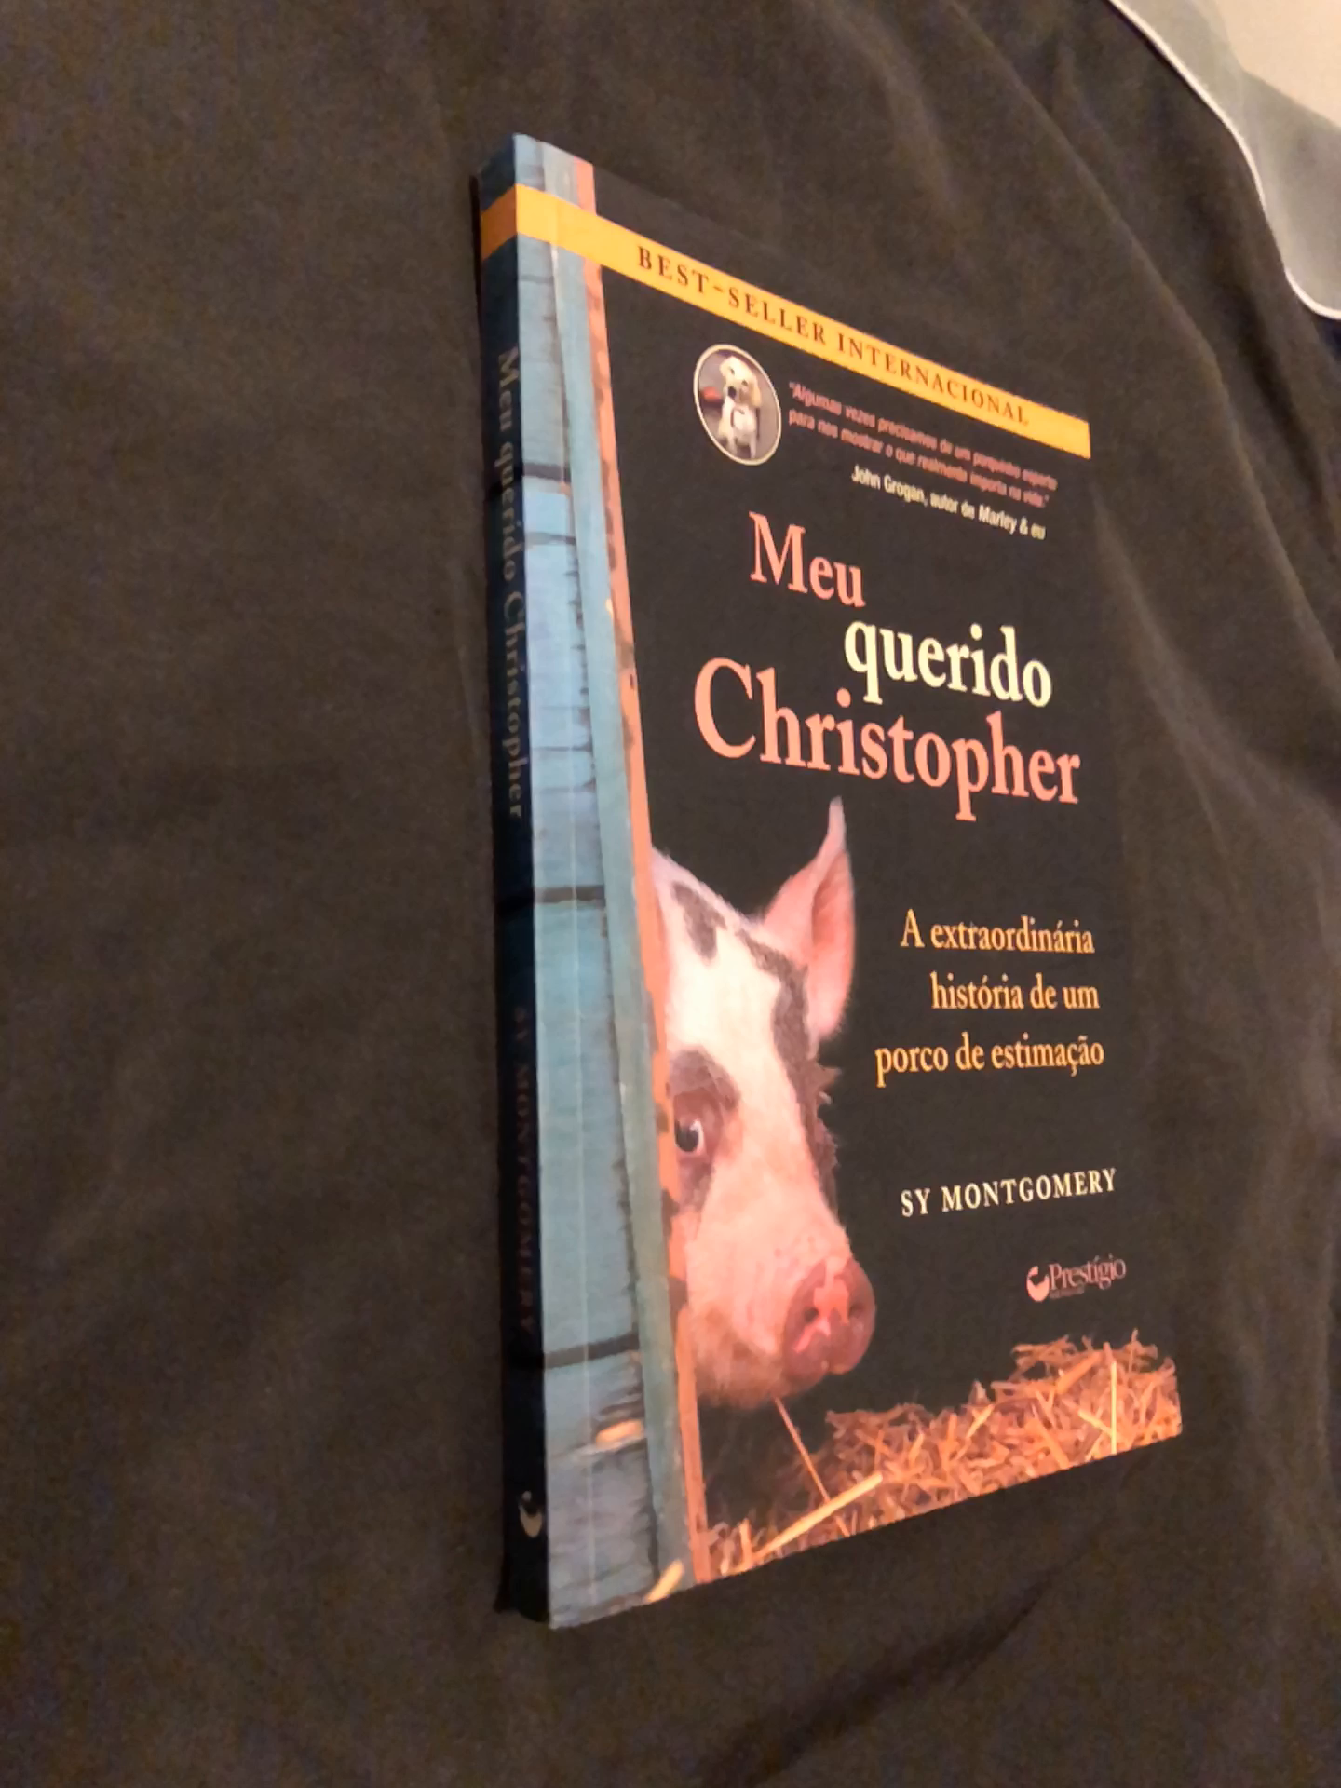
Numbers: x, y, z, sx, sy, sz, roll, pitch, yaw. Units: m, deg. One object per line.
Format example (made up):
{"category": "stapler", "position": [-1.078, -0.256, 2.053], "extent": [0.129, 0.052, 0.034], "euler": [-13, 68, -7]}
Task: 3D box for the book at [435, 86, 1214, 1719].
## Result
{"category": "book", "position": [0.038, -0.001, 0.265], "extent": [0.171, 0.020, 0.220], "euler": [2, 83, -43]}
